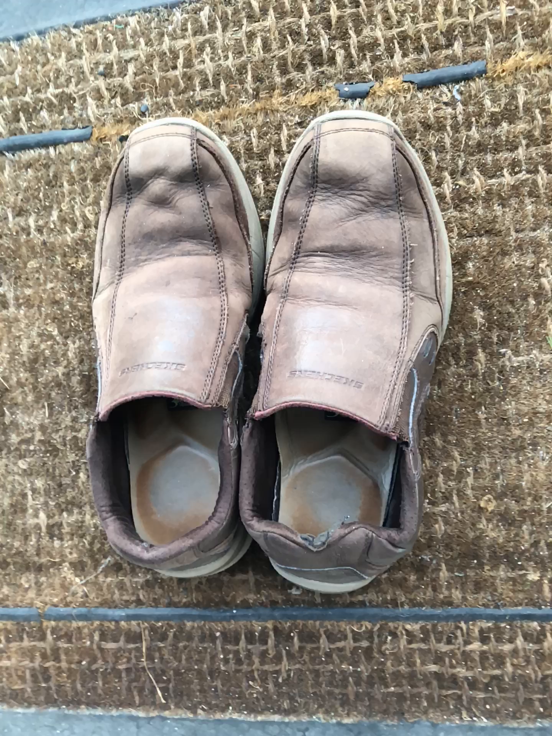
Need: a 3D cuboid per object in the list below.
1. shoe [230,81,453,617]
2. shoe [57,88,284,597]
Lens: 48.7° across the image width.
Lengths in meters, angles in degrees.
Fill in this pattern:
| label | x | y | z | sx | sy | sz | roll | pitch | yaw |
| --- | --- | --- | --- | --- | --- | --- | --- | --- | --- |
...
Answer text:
| label | x | y | z | sx | sy | sz | roll | pitch | yaw |
| --- | --- | --- | --- | --- | --- | --- | --- | --- | --- |
| shoe | 0.037 | -0.010 | 0.346 | 0.100 | 0.100 | 0.254 | 2 | 95 | 10 |
| shoe | -0.056 | -0.012 | 0.378 | 0.100 | 0.100 | 0.267 | -1 | 95 | 10 |
